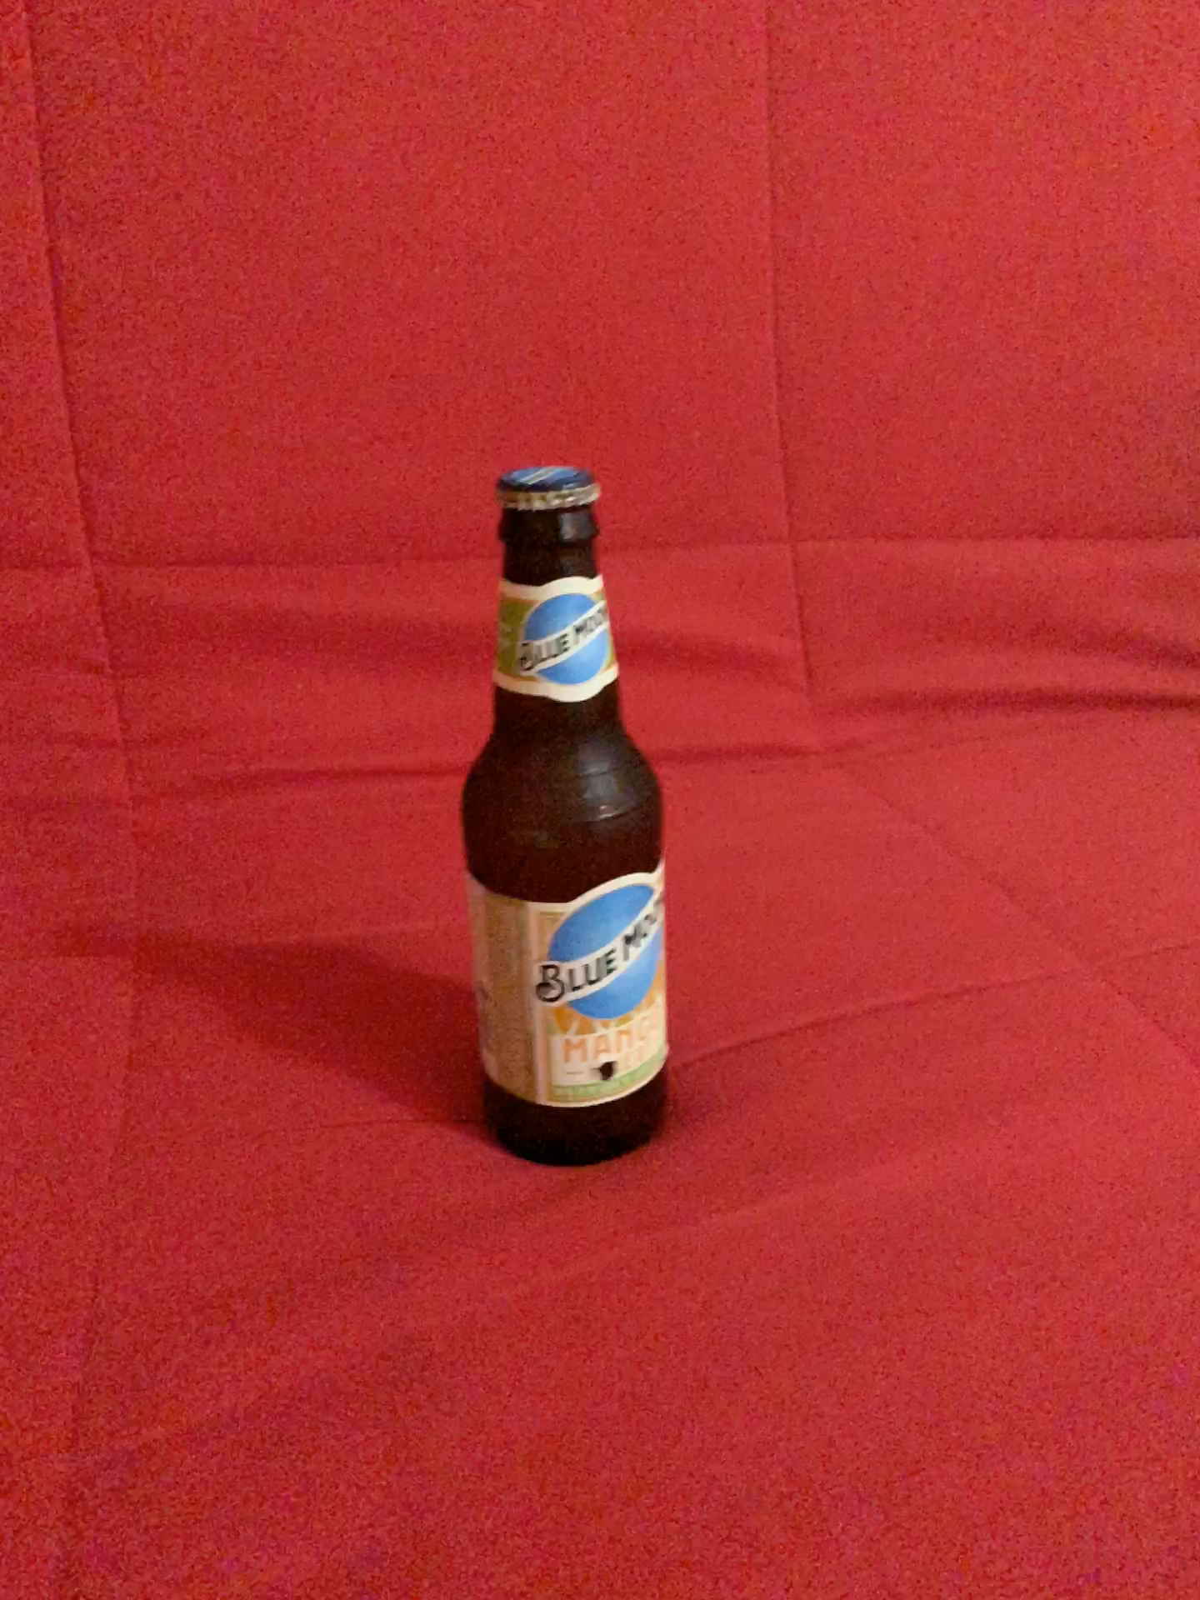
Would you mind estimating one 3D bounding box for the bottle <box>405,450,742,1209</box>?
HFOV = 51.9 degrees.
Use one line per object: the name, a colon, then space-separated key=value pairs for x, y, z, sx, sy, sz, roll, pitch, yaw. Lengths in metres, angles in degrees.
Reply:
bottle: x=-0.009 y=0.012 z=0.380 sx=0.070 sy=0.216 sz=0.069 roll=0 pitch=27 yaw=0
